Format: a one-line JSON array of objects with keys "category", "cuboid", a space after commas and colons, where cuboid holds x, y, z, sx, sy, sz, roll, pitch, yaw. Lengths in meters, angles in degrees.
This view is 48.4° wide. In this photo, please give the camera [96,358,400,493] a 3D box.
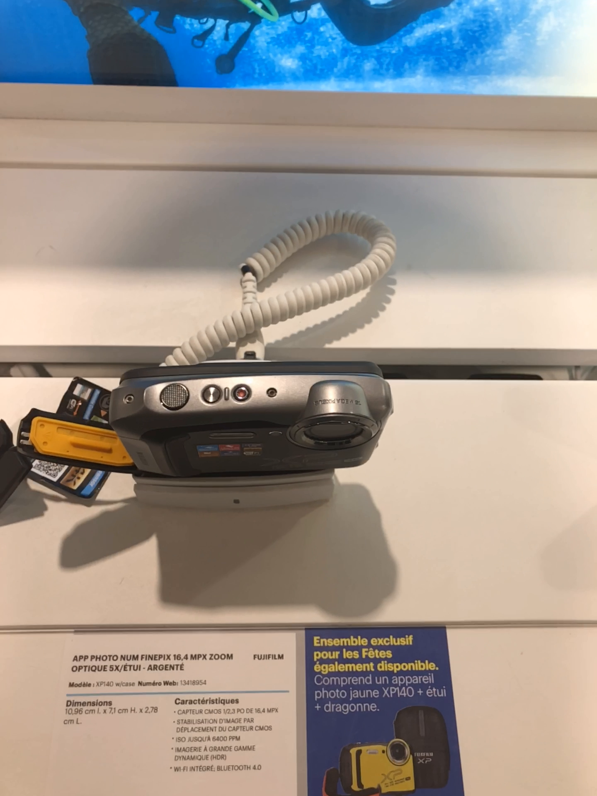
[{"category": "camera", "cuboid": [-0.019, 0.013, 0.268, 0.106, 0.070, 0.023, -2, 62, -3]}]
